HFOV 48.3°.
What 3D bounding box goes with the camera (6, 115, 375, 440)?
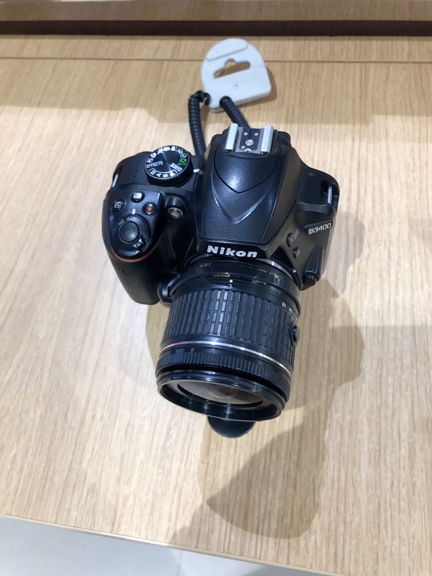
[{"bbox_3d":[0.000,-0.006,0.234,0.133,0.084,0.120,5,61,9],"label":"camera"}]
